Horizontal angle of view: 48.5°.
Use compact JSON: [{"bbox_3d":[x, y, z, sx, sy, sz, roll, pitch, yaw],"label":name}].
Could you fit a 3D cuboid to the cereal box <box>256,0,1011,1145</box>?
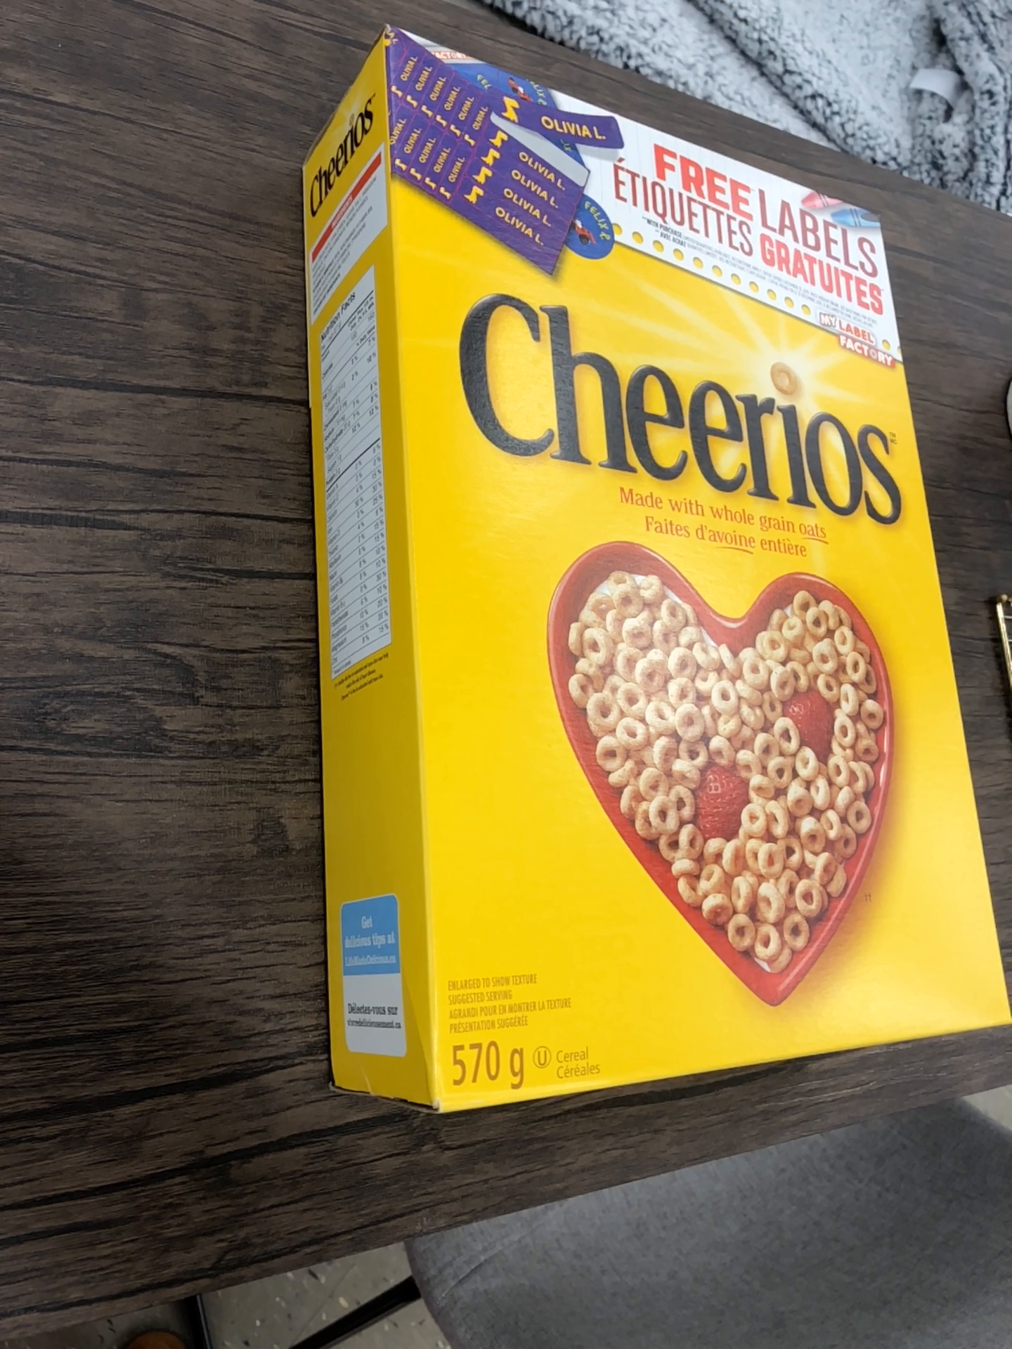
[{"bbox_3d":[0.045,-0.033,0.415,0.241,0.100,0.340,3,75,-31],"label":"cereal box"}]
